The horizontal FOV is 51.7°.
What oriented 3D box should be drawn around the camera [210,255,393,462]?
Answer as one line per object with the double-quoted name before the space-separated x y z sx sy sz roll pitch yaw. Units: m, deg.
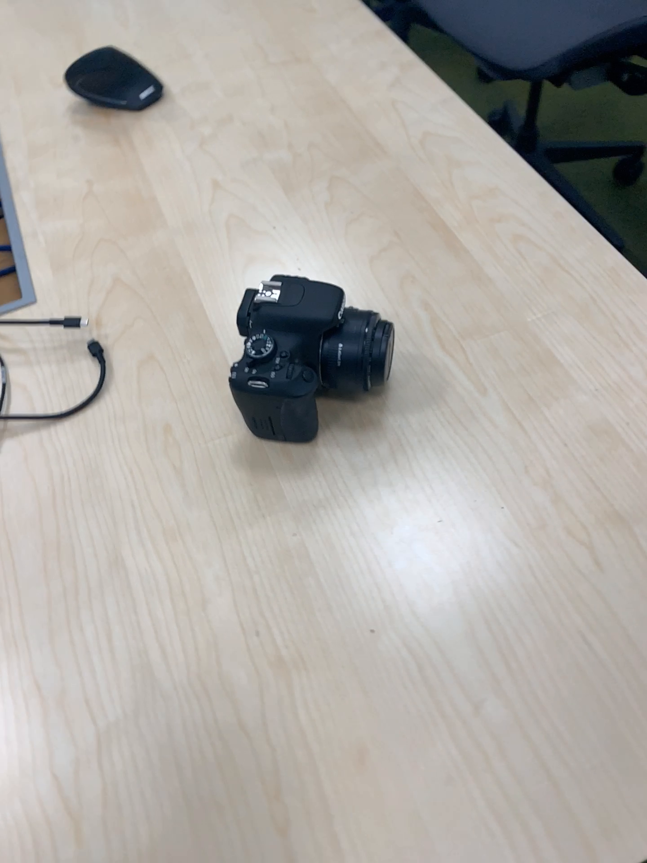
"camera" -0.010 -0.063 0.570 0.118 0.100 0.130 8 57 11
